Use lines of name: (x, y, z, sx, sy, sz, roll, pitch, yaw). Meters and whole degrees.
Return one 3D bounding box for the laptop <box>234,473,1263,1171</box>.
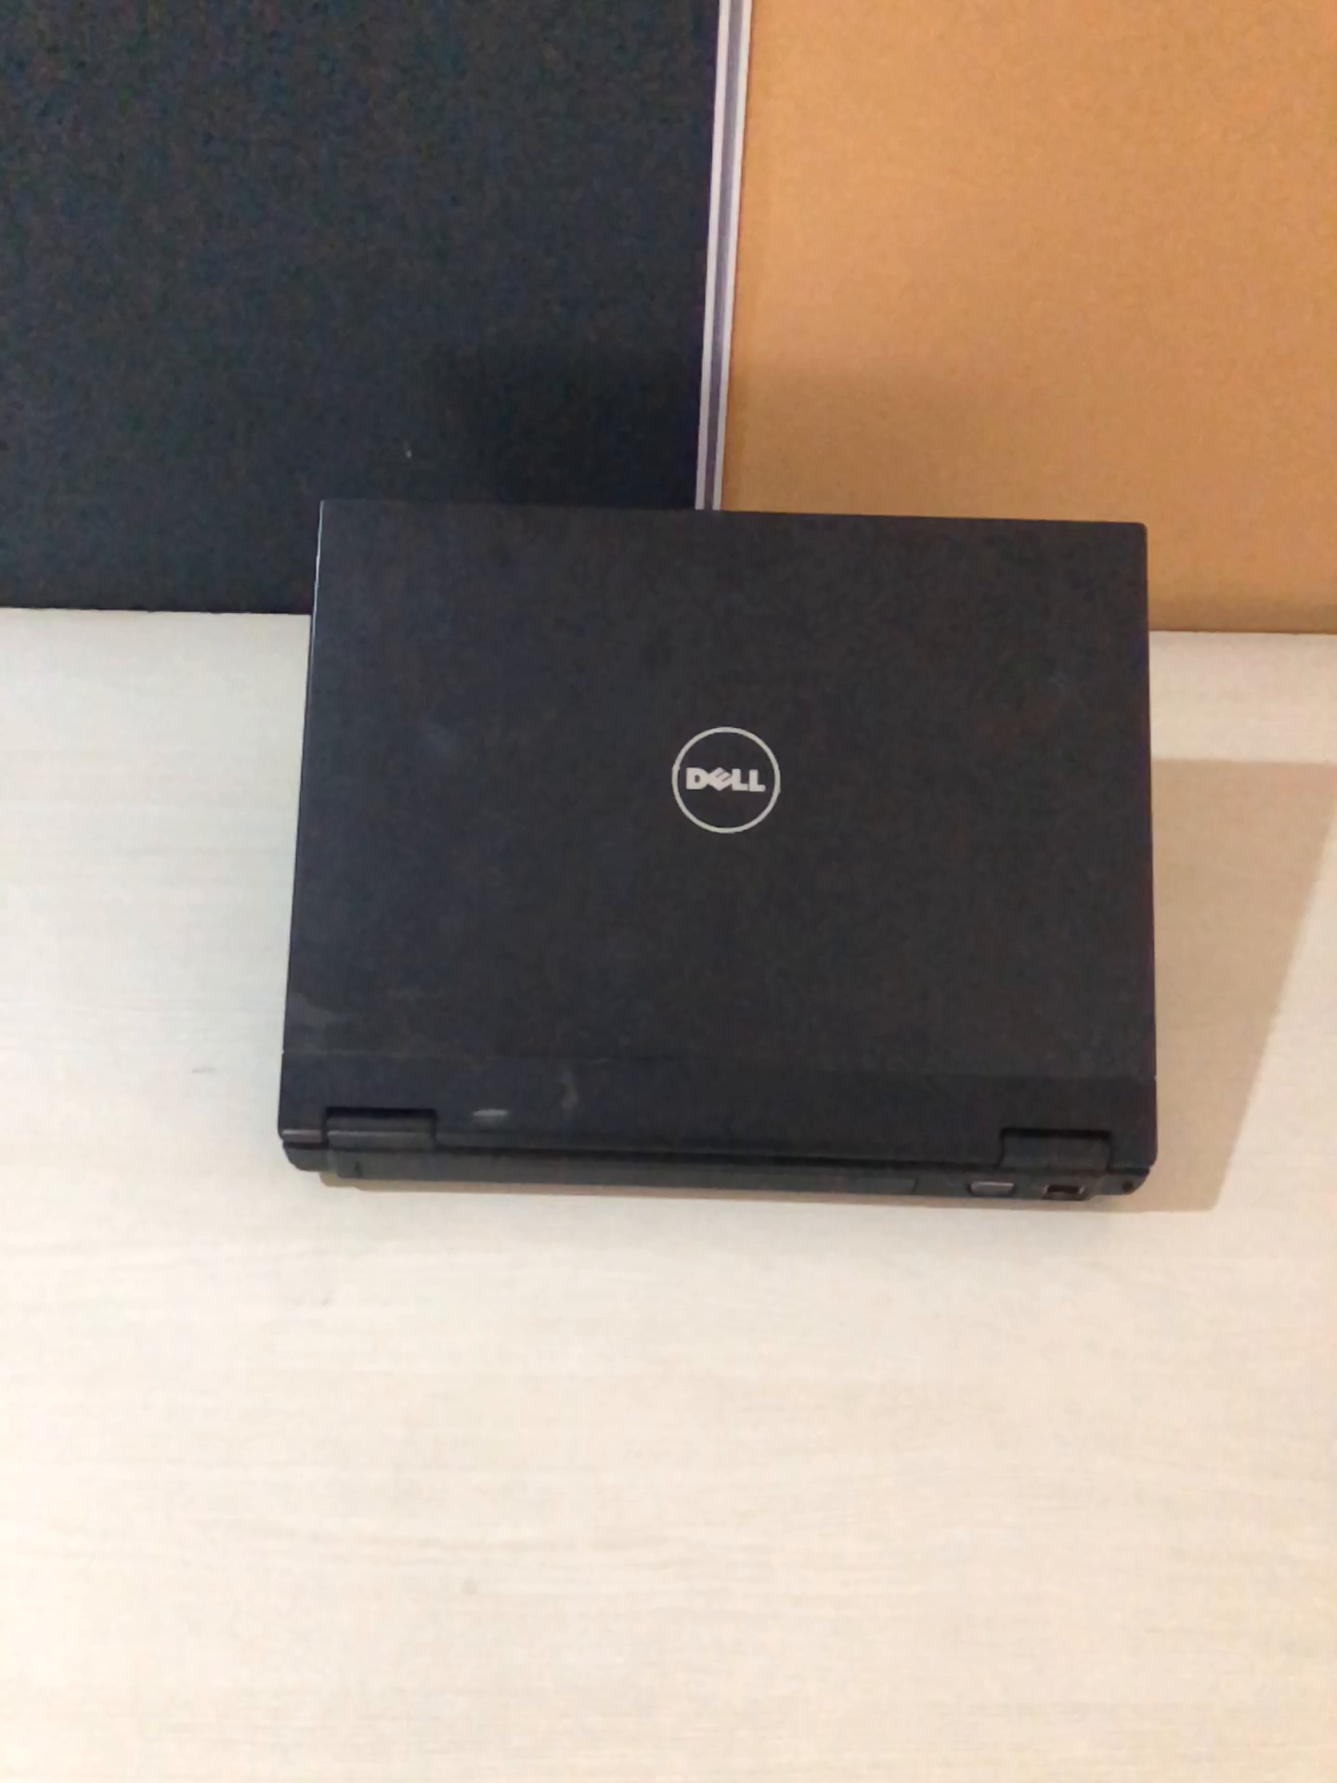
laptop: (0.025, -0.031, 0.551, 0.302, 0.126, 0.225, 2, 50, 0)
